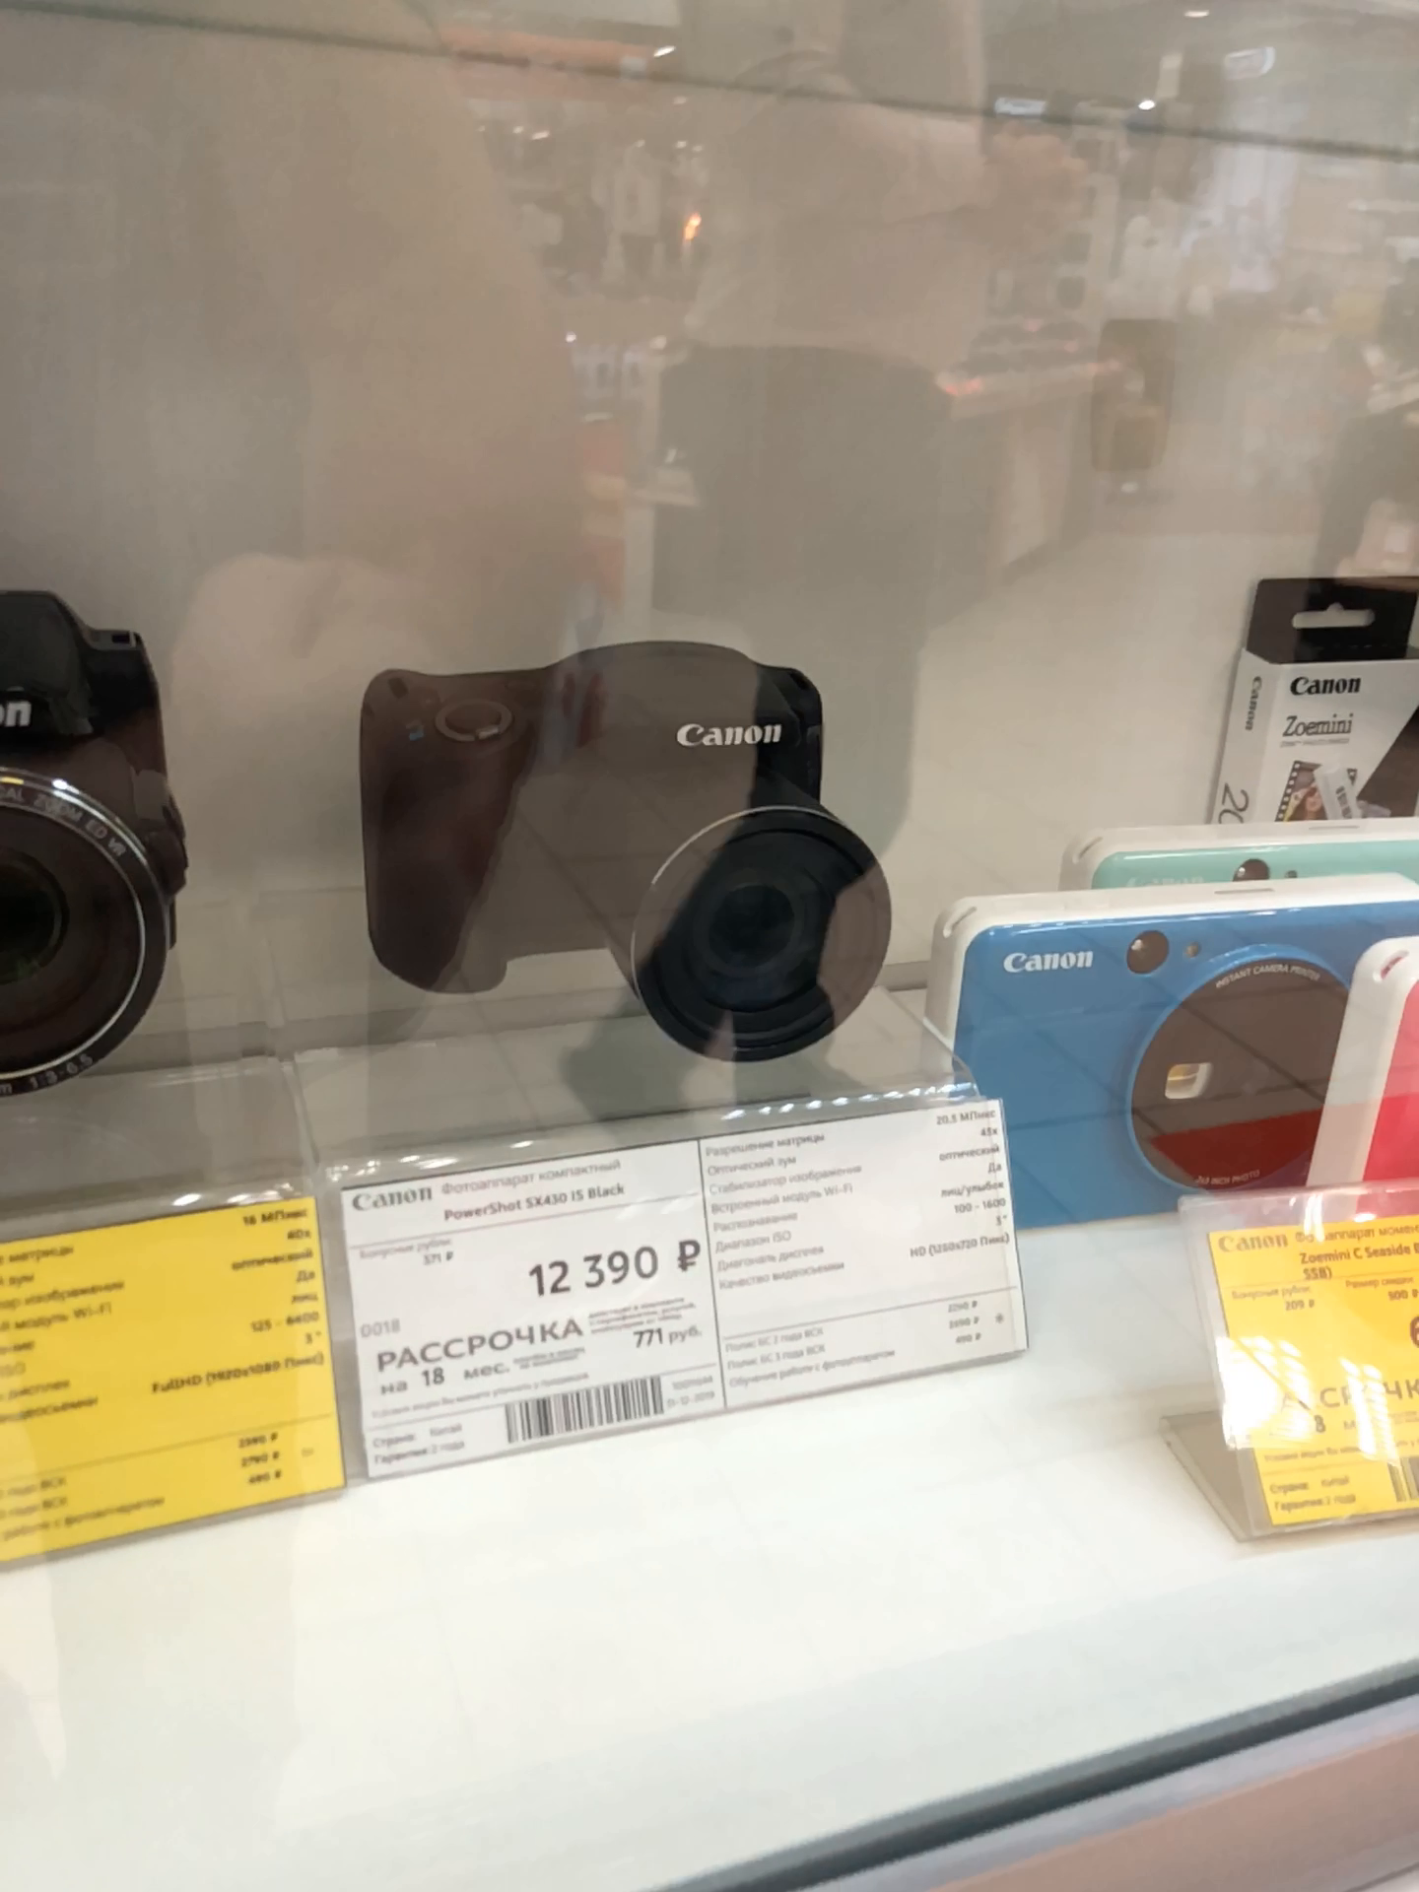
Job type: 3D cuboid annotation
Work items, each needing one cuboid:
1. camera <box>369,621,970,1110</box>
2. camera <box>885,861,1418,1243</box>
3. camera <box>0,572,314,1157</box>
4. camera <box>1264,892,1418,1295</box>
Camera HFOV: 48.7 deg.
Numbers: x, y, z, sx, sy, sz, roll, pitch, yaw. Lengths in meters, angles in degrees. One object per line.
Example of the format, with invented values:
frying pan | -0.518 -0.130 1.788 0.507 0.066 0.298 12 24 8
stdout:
camera | -0.015 -0.024 0.332 0.100 0.070 0.093 -5 24 -18
camera | 0.104 0.023 0.359 0.118 0.073 0.028 -4 24 -16
camera | -0.130 -0.023 0.287 0.100 0.073 0.093 -5 24 -18
camera | 0.188 0.031 0.344 0.118 0.073 0.028 -4 24 -16
